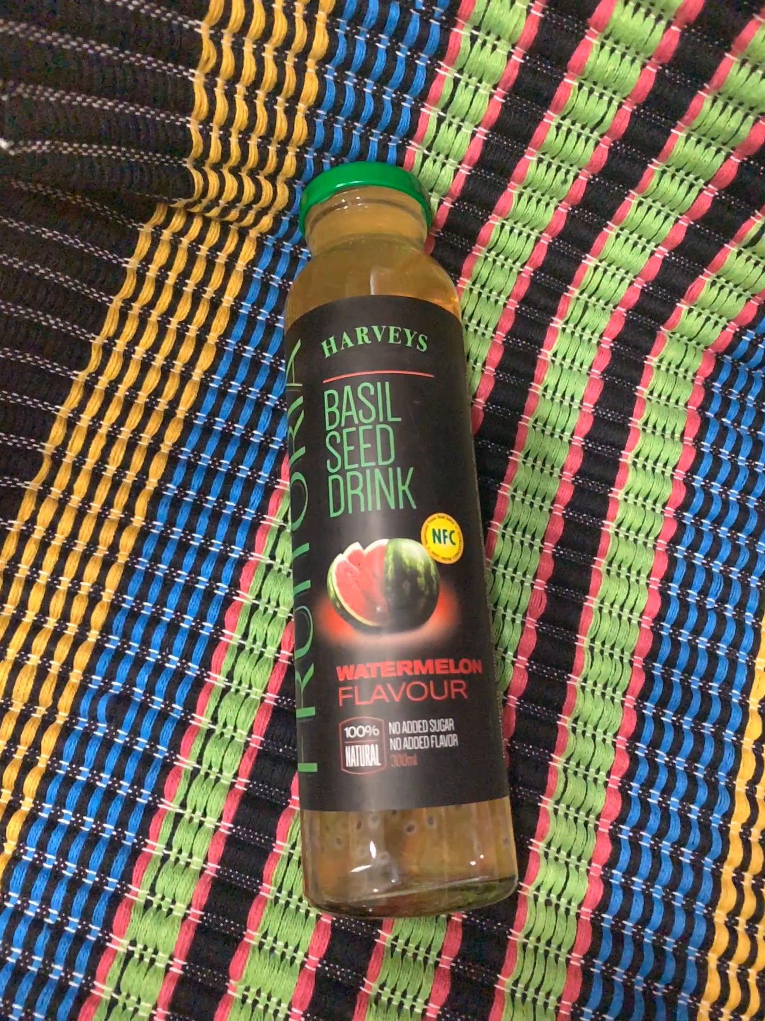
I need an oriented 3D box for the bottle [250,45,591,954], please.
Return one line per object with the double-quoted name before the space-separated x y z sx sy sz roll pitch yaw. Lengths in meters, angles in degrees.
"bottle" 0.008 -0.006 0.203 0.060 0.060 0.200 -6 76 10
